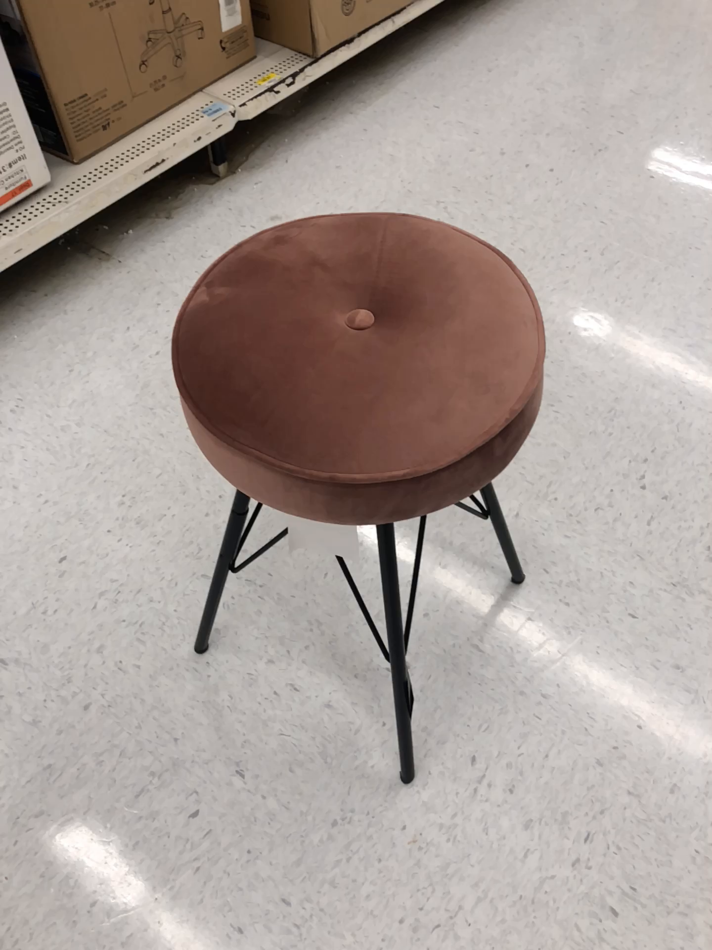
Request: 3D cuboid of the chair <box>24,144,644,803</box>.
[{"bbox_3d":[-0.003,0.018,0.824,0.360,0.499,0.351,27,58,20],"label":"chair"}]
